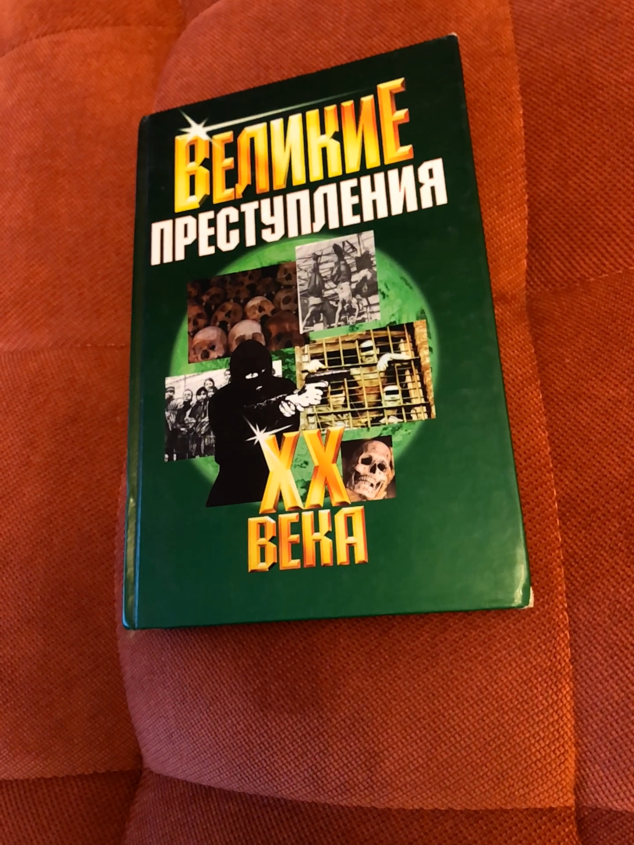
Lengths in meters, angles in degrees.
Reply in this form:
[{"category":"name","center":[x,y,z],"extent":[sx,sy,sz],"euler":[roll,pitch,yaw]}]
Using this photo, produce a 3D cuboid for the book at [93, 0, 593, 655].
[{"category":"book","center":[0.003,-0.034,0.269],"extent":[0.160,0.040,0.230],"euler":[-7,72,17]}]
